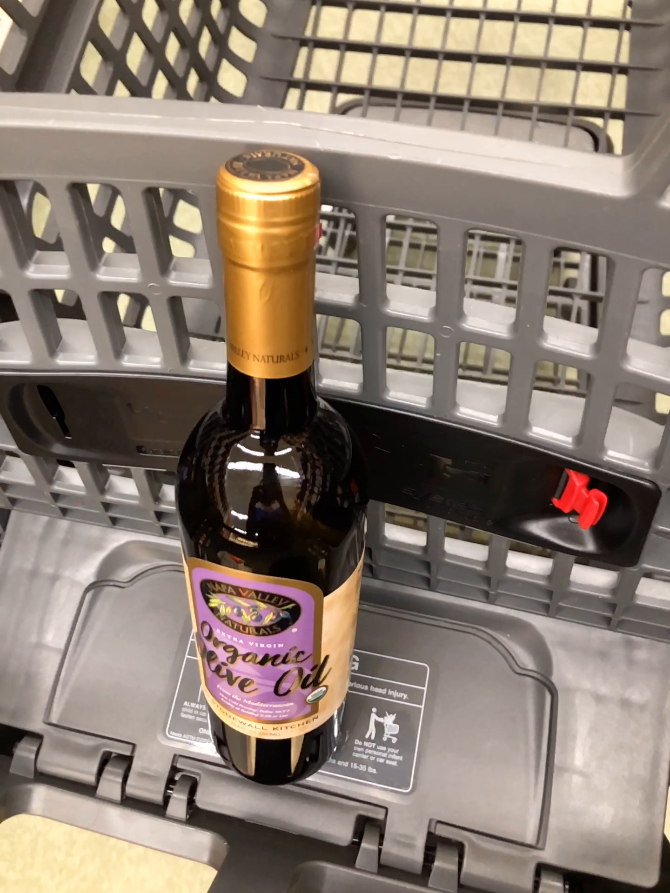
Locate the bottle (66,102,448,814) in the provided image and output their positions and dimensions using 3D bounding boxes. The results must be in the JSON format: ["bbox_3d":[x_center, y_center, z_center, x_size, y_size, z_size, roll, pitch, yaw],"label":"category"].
[{"bbox_3d":[-0.024,0.036,0.301,0.080,0.300,0.080,2,42,-2],"label":"bottle"}]
